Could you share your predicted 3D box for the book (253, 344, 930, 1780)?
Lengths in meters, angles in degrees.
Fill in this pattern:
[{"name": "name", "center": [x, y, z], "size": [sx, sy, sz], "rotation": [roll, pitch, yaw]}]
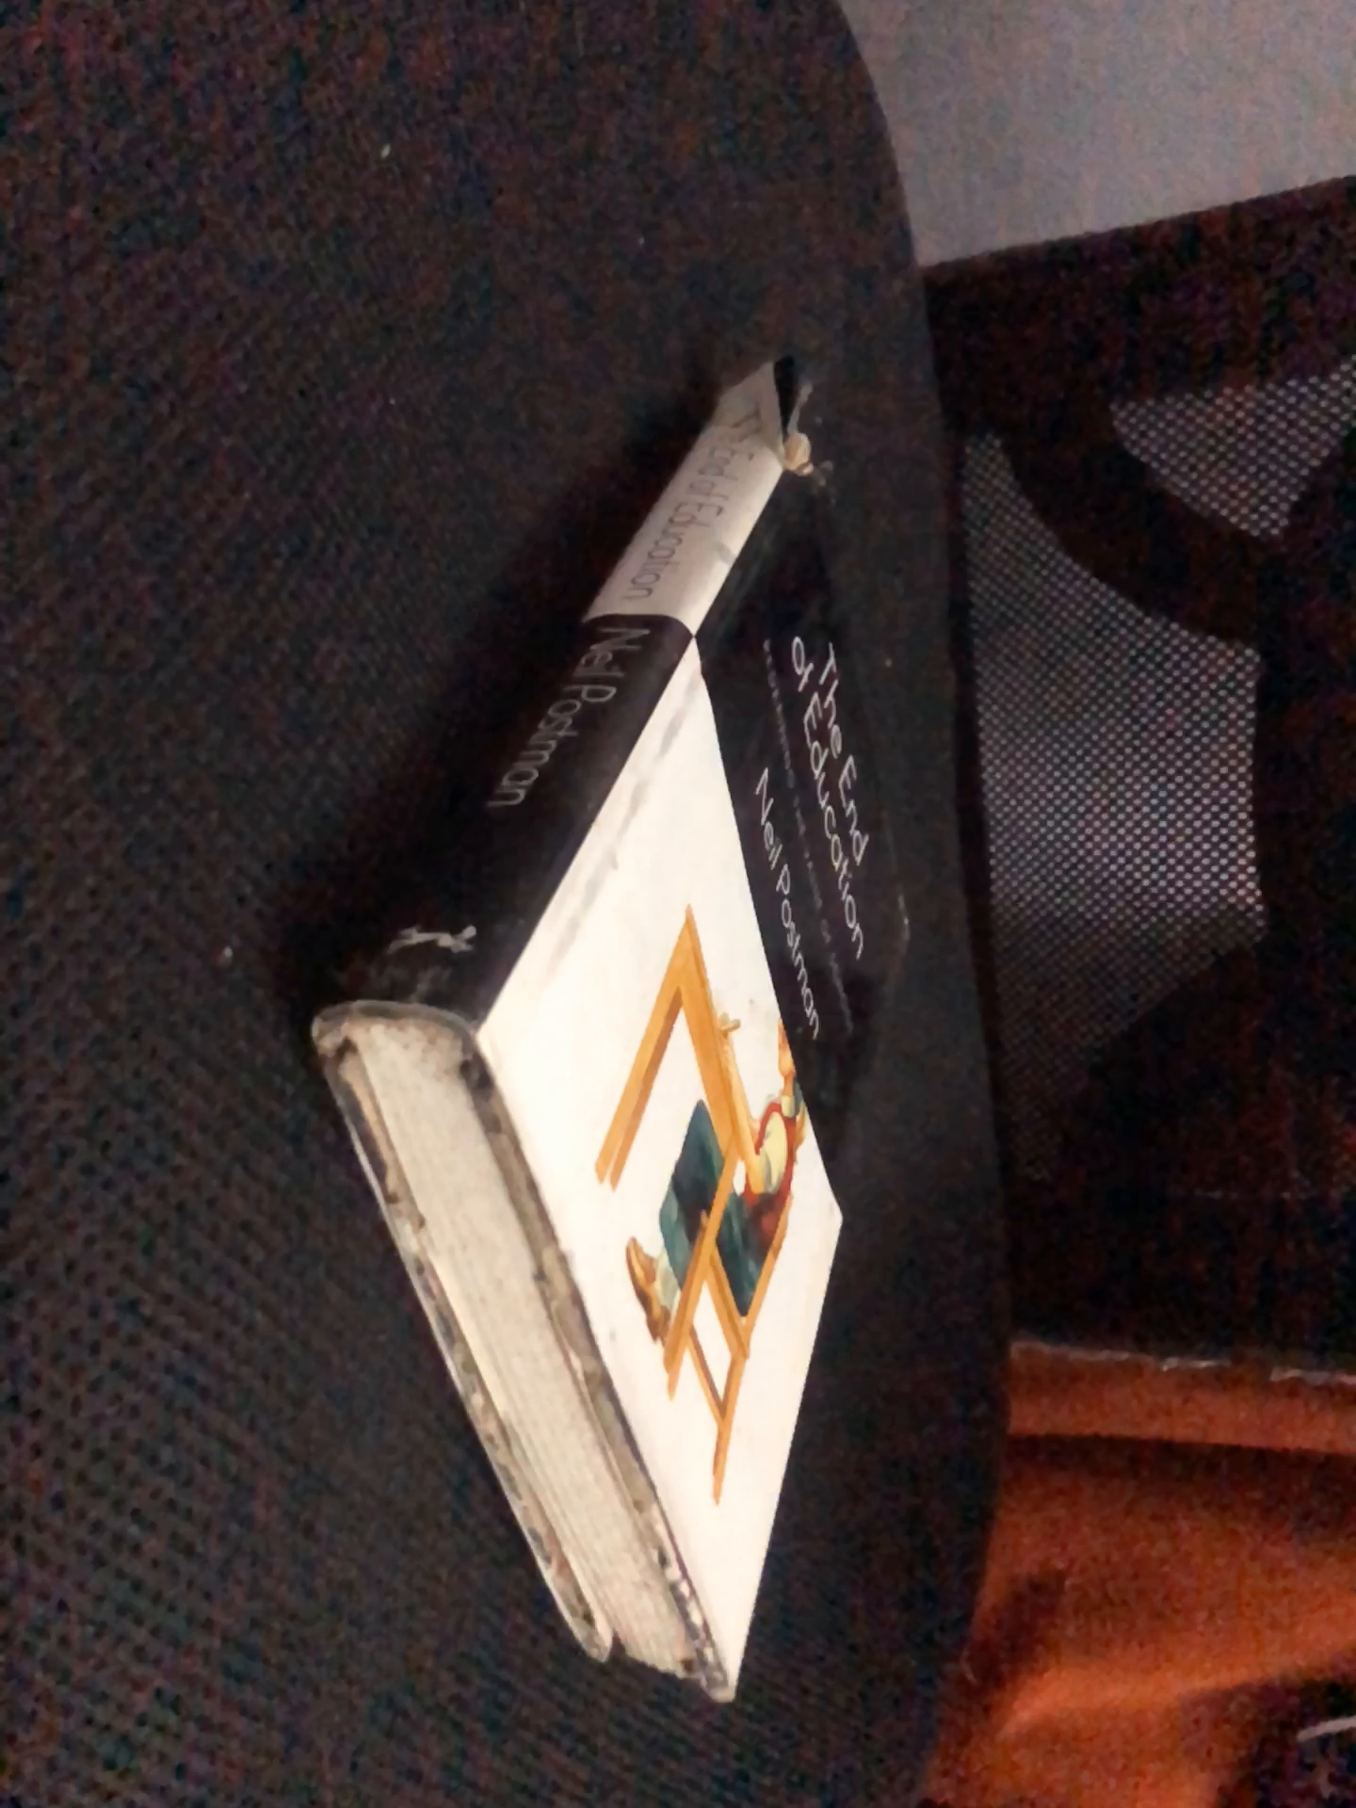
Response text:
[{"name": "book", "center": [0.014, 0.011, 0.320], "size": [0.251, 0.030, 0.180], "rotation": [-67, 149, -51]}]
